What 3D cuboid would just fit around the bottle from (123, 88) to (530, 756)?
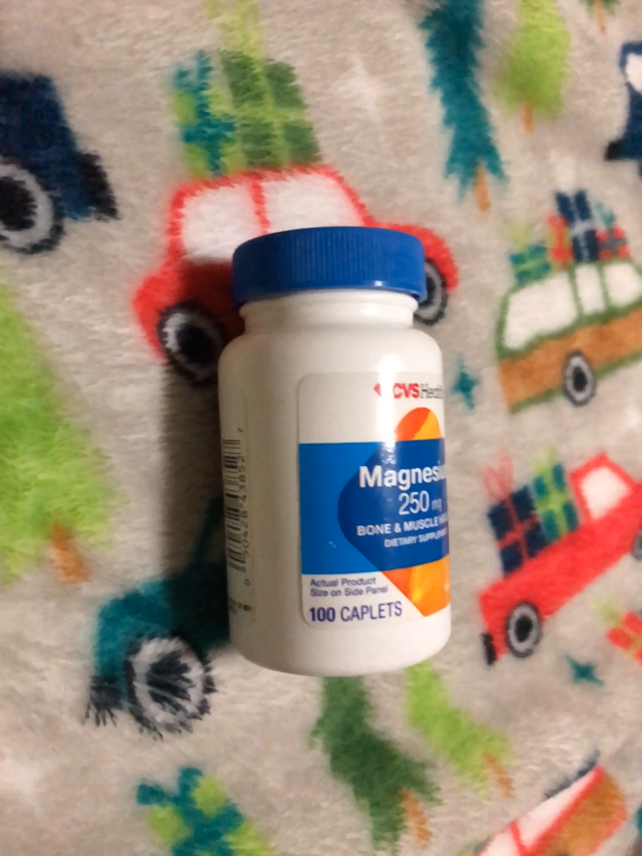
[{"bbox_3d":[0.002,-0.001,0.148,0.060,0.050,0.100,-4,93,-42],"label":"bottle"}]
